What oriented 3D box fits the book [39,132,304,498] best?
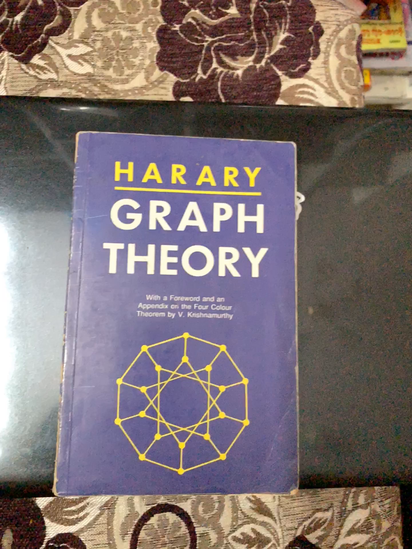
[{"bbox_3d":[-0.015,0.020,0.251,0.140,0.020,0.200,2,83,-4],"label":"book"}]
